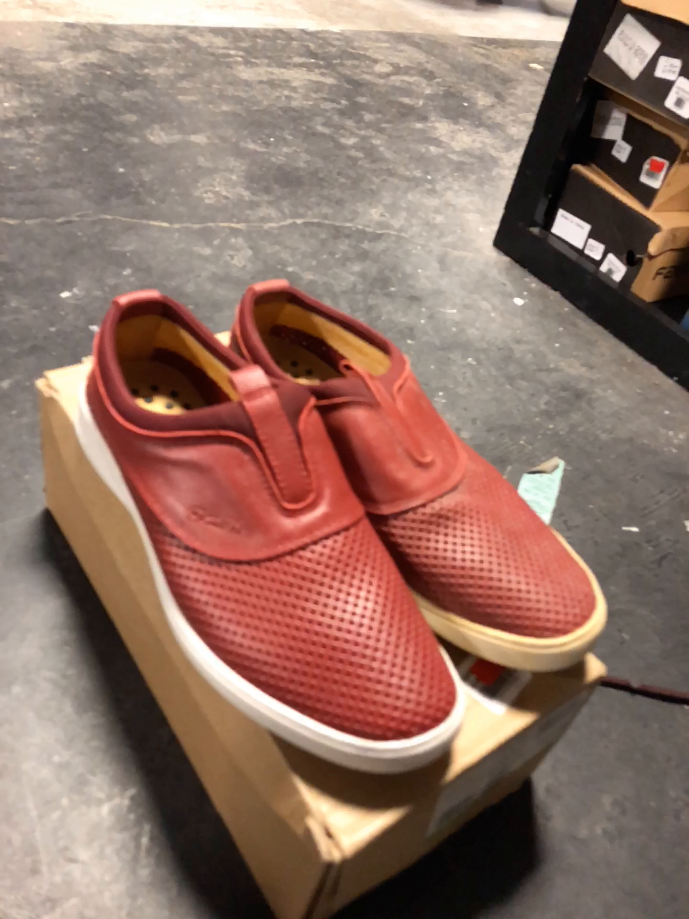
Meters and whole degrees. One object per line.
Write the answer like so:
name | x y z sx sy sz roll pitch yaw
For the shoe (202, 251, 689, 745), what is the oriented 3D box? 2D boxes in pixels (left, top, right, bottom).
shoe | 0.038 0.000 0.391 0.100 0.089 0.251 -21 53 -35

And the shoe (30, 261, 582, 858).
shoe | -0.037 0.020 0.335 0.100 0.089 0.251 -21 53 -35
